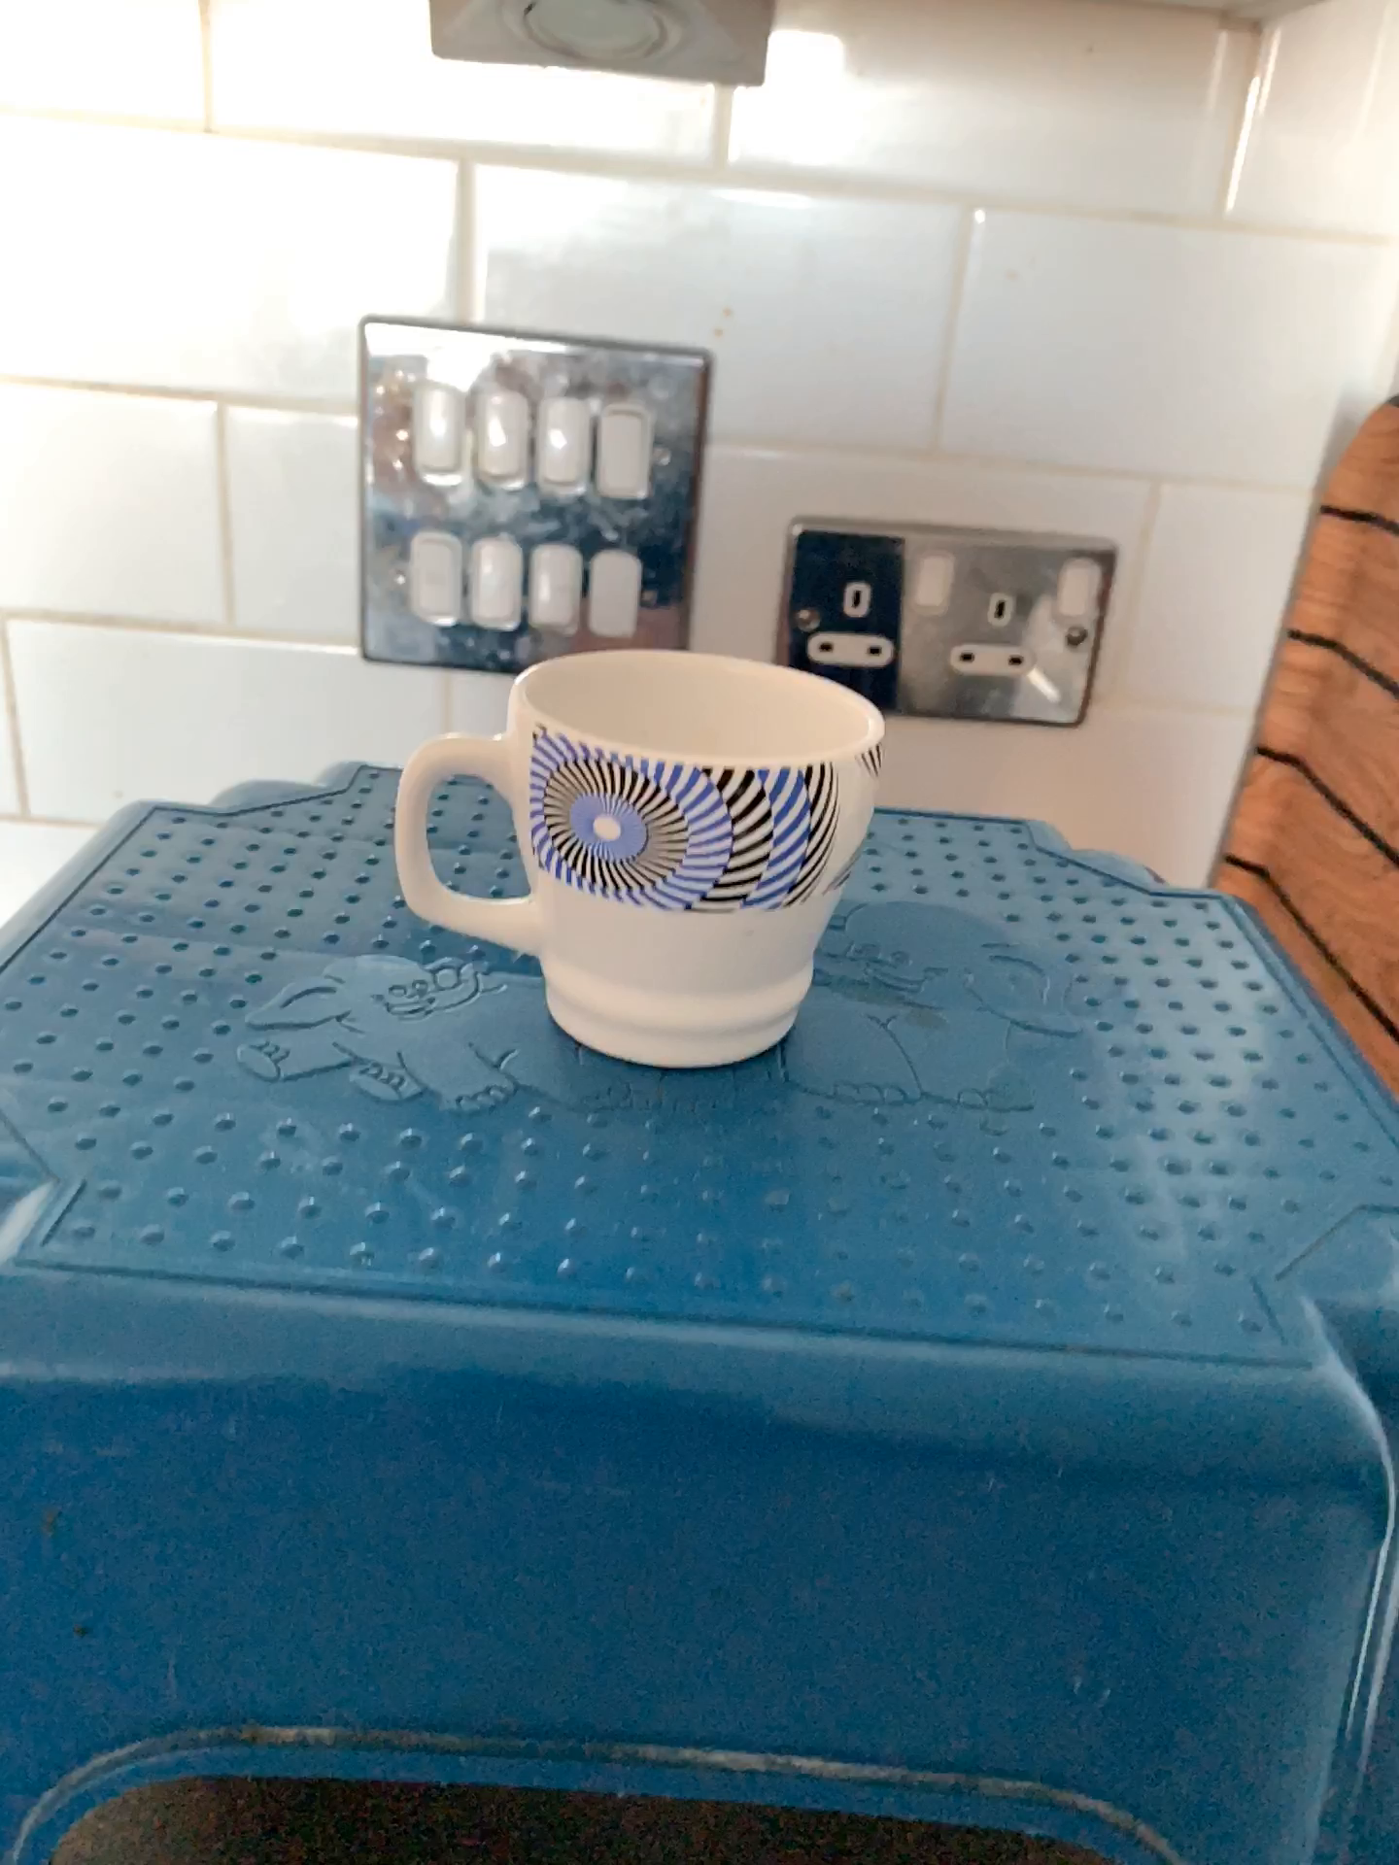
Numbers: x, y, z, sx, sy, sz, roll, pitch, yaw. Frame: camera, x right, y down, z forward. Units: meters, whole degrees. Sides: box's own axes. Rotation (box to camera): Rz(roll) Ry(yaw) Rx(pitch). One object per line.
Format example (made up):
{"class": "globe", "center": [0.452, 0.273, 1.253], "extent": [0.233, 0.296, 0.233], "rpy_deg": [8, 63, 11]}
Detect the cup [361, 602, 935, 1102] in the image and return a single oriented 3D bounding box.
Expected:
{"class": "cup", "center": [-0.007, -0.019, 0.262], "extent": [0.085, 0.055, 0.079], "rpy_deg": [5, 26, -2]}
